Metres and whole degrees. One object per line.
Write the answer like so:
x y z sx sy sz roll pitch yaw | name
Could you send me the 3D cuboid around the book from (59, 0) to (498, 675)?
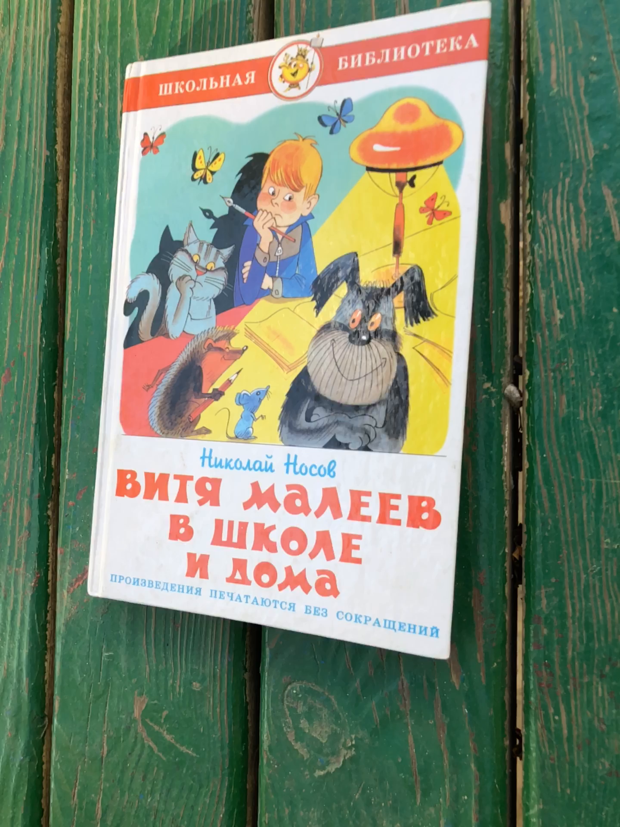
-0.016 -0.031 0.245 0.145 0.020 0.212 3 88 22 | book
